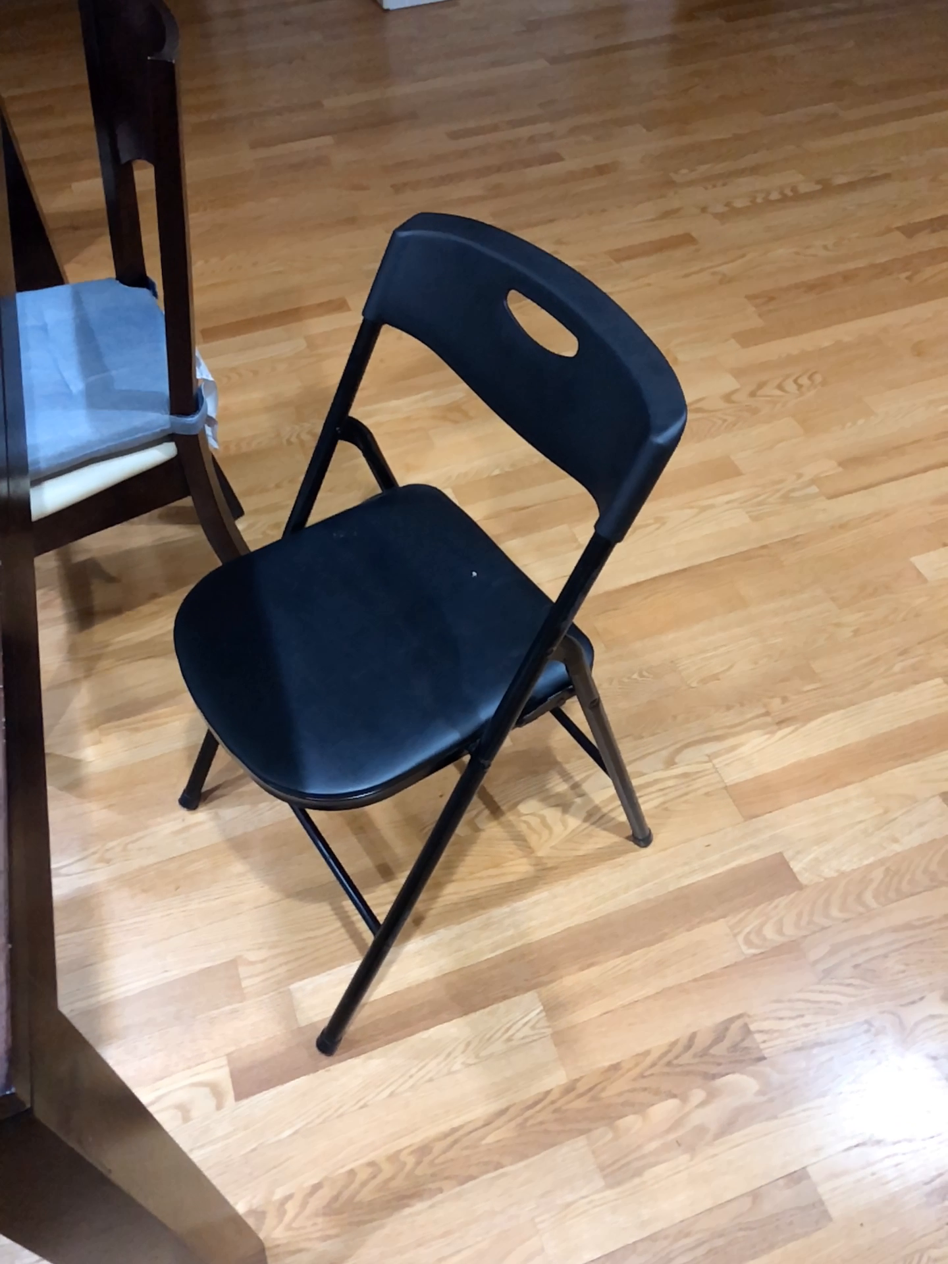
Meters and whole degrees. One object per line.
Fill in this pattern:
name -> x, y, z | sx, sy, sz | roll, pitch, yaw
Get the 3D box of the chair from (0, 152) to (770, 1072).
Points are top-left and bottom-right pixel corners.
chair -> -0.112, -0.010, 1.135 | 0.521, 0.697, 0.522 | -28, 53, -19
